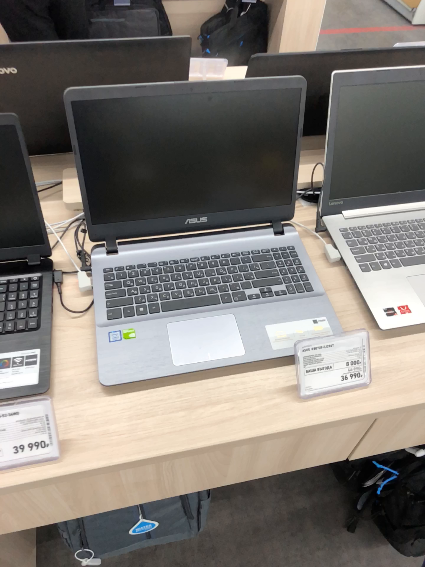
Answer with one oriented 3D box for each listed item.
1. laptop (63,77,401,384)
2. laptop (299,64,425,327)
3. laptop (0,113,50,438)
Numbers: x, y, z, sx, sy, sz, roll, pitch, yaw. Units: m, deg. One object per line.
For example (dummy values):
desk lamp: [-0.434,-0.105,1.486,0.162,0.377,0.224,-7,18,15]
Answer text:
laptop: [-0.007,-0.089,0.655,0.345,0.226,0.330,-8,52,-11]
laptop: [0.403,-0.153,0.744,0.370,0.220,0.333,-9,53,-12]
laptop: [-0.407,-0.023,0.577,0.332,0.222,0.292,-6,51,-10]
